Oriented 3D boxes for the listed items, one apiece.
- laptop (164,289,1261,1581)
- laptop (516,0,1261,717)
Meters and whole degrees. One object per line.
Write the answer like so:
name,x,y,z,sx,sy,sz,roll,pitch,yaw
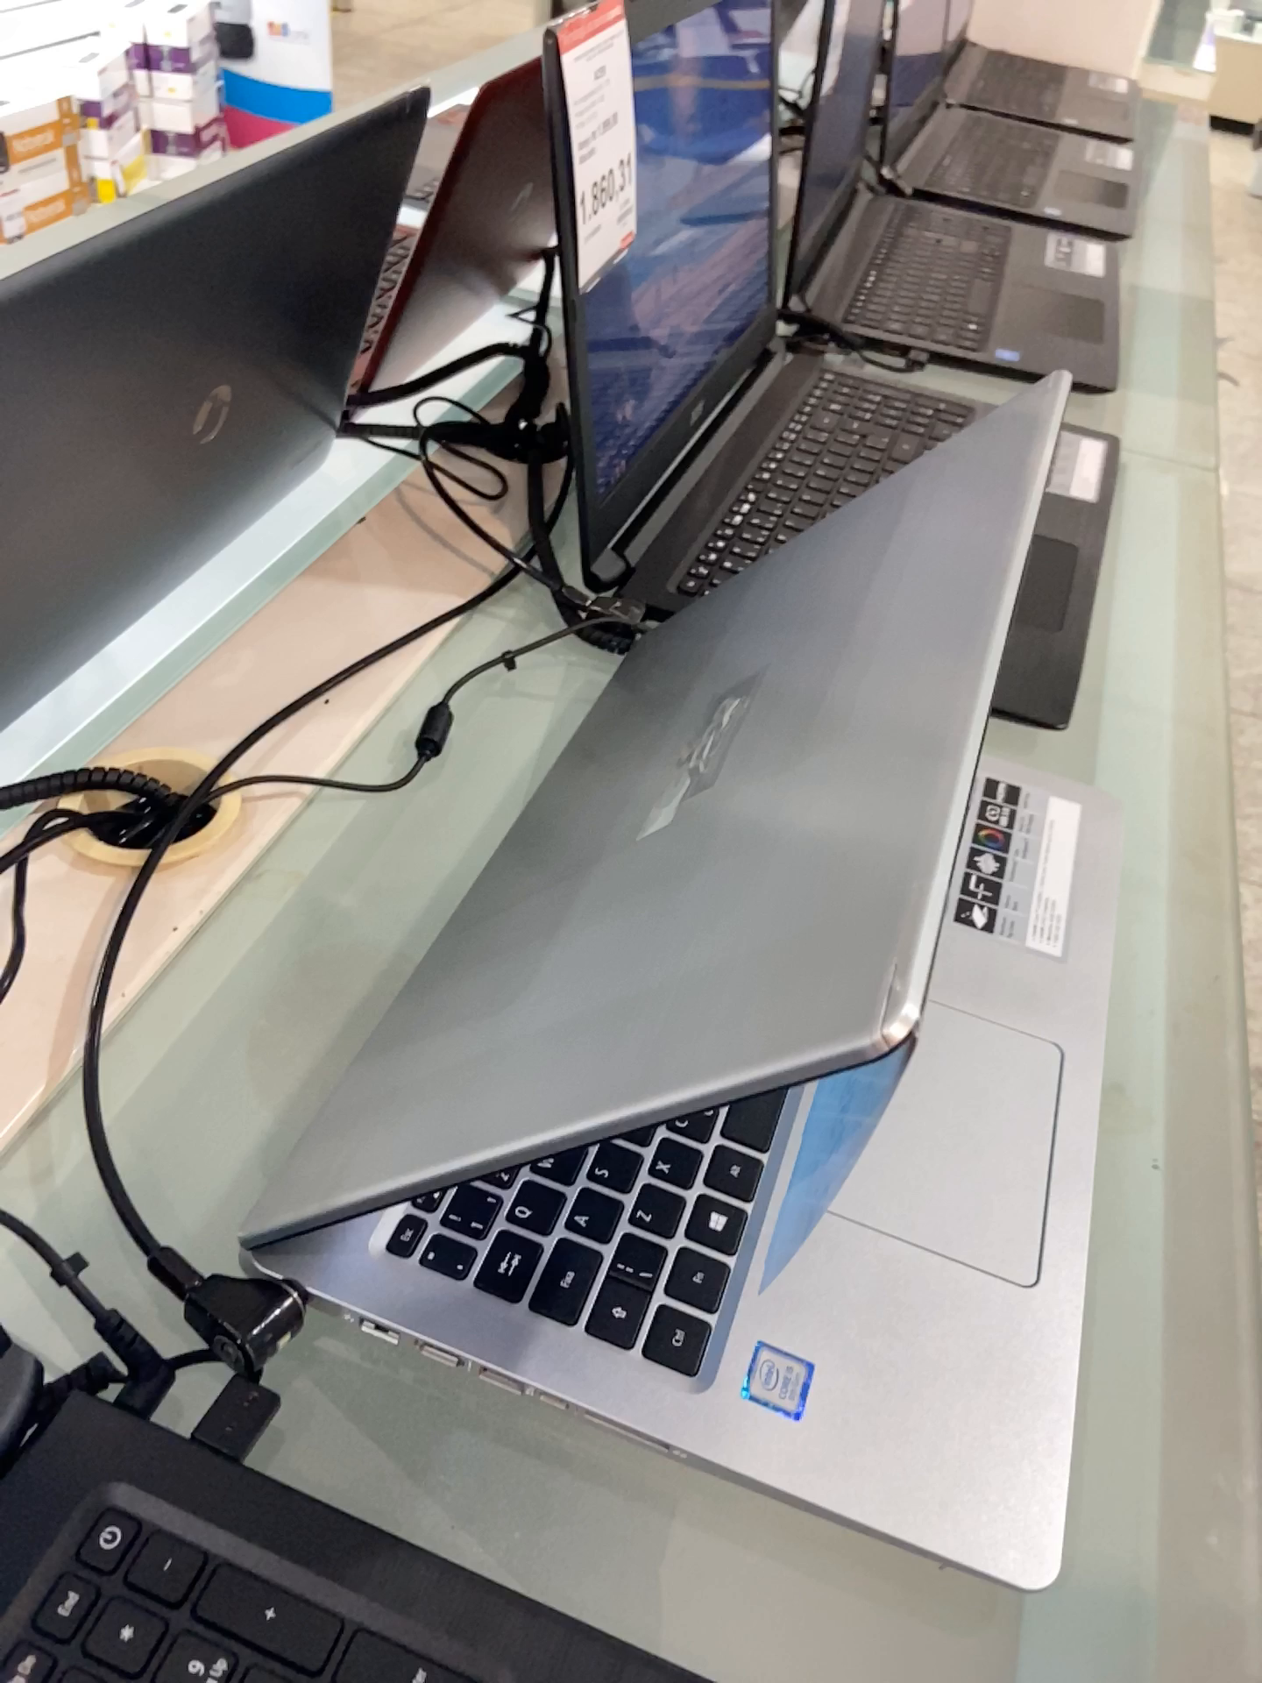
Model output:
laptop,0.064,-0.015,0.430,0.236,0.175,0.355,17,41,9
laptop,0.151,-0.301,0.715,0.287,0.238,0.356,18,43,11
